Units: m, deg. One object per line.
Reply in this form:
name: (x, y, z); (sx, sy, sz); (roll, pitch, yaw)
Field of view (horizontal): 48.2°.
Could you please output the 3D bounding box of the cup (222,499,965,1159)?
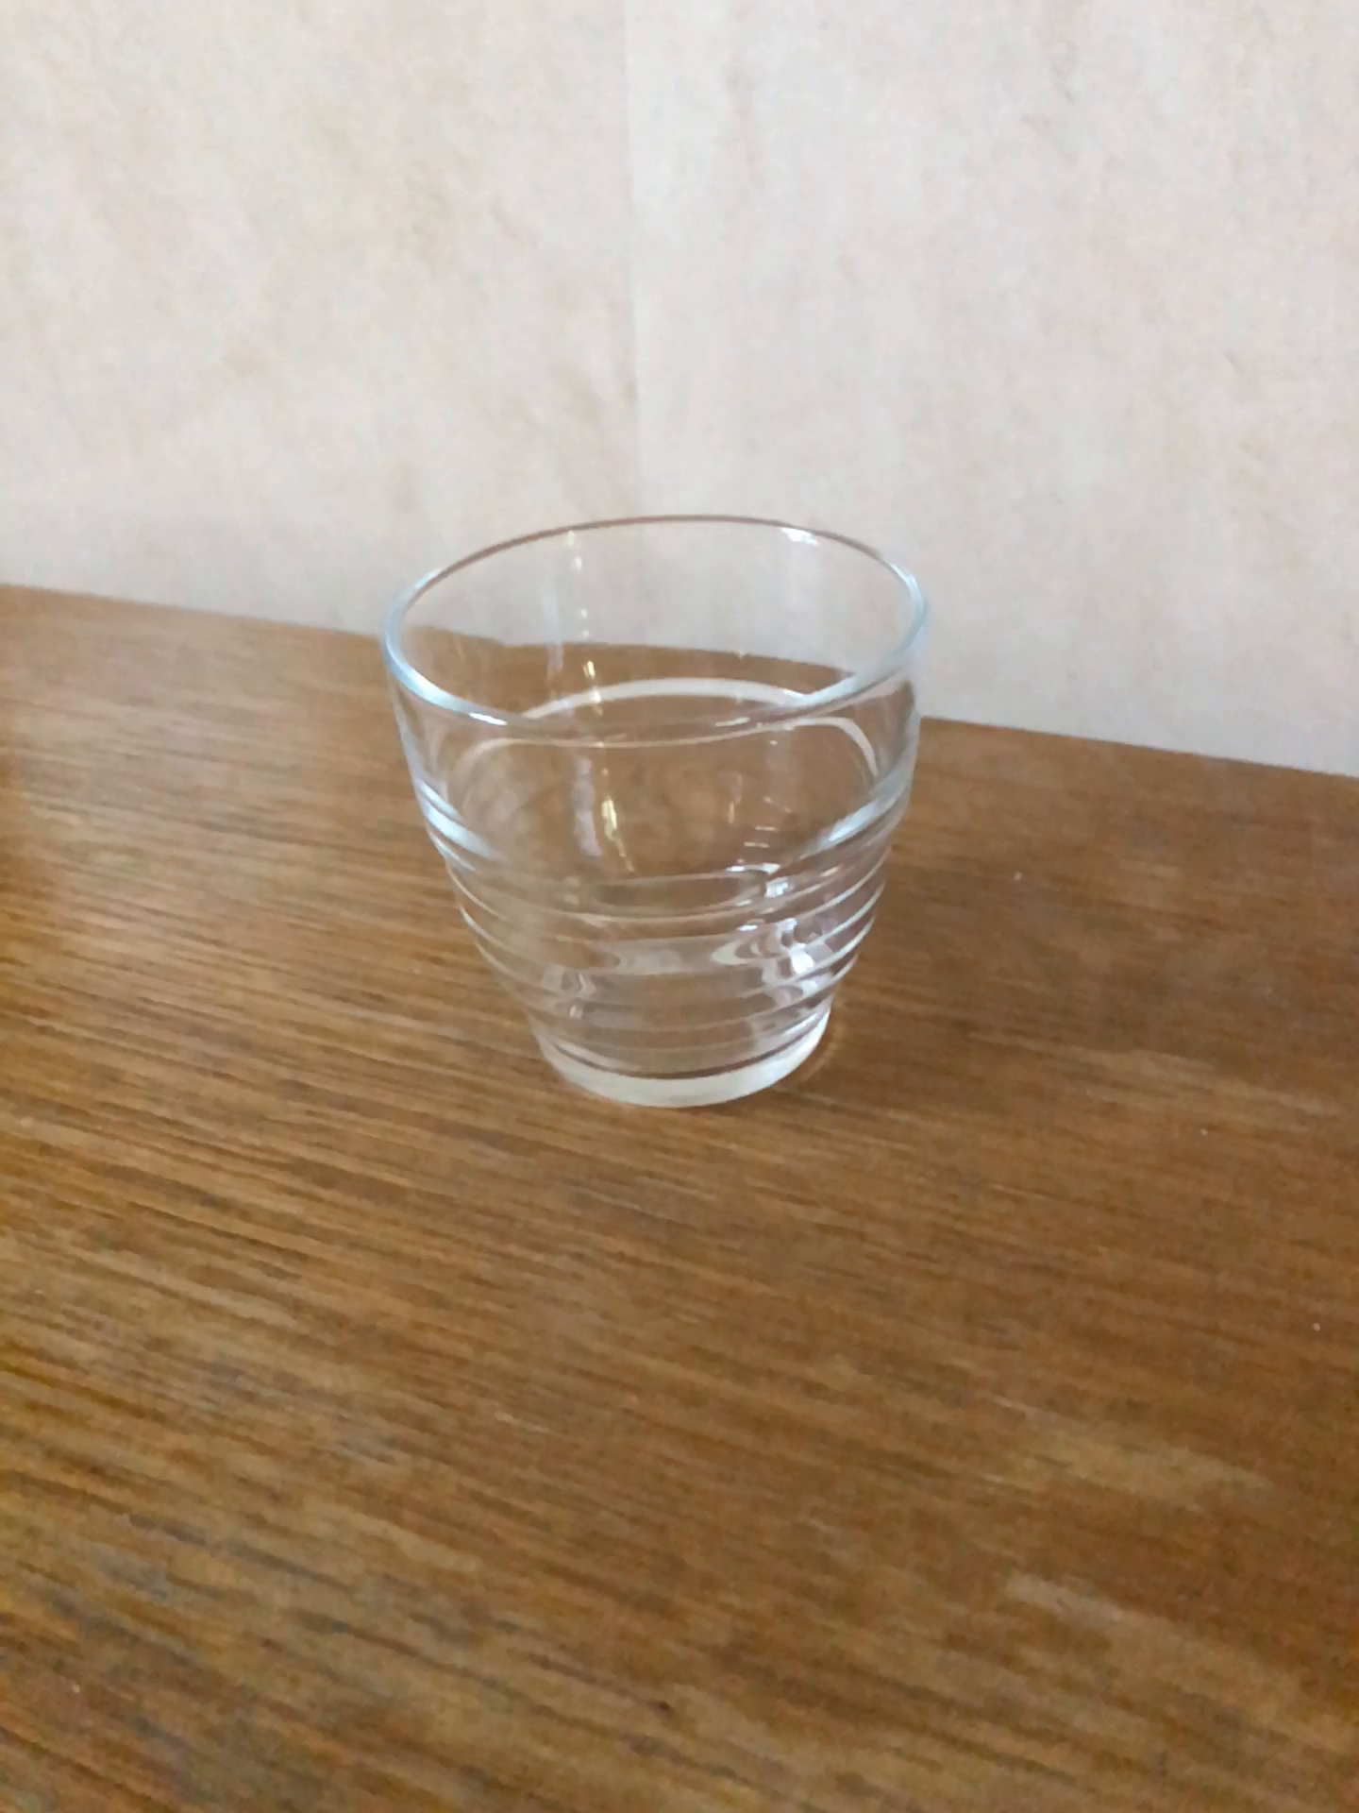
cup: (-0.008, -0.015, 0.213); (0.080, 0.060, 0.080); (-1, 32, 1)
